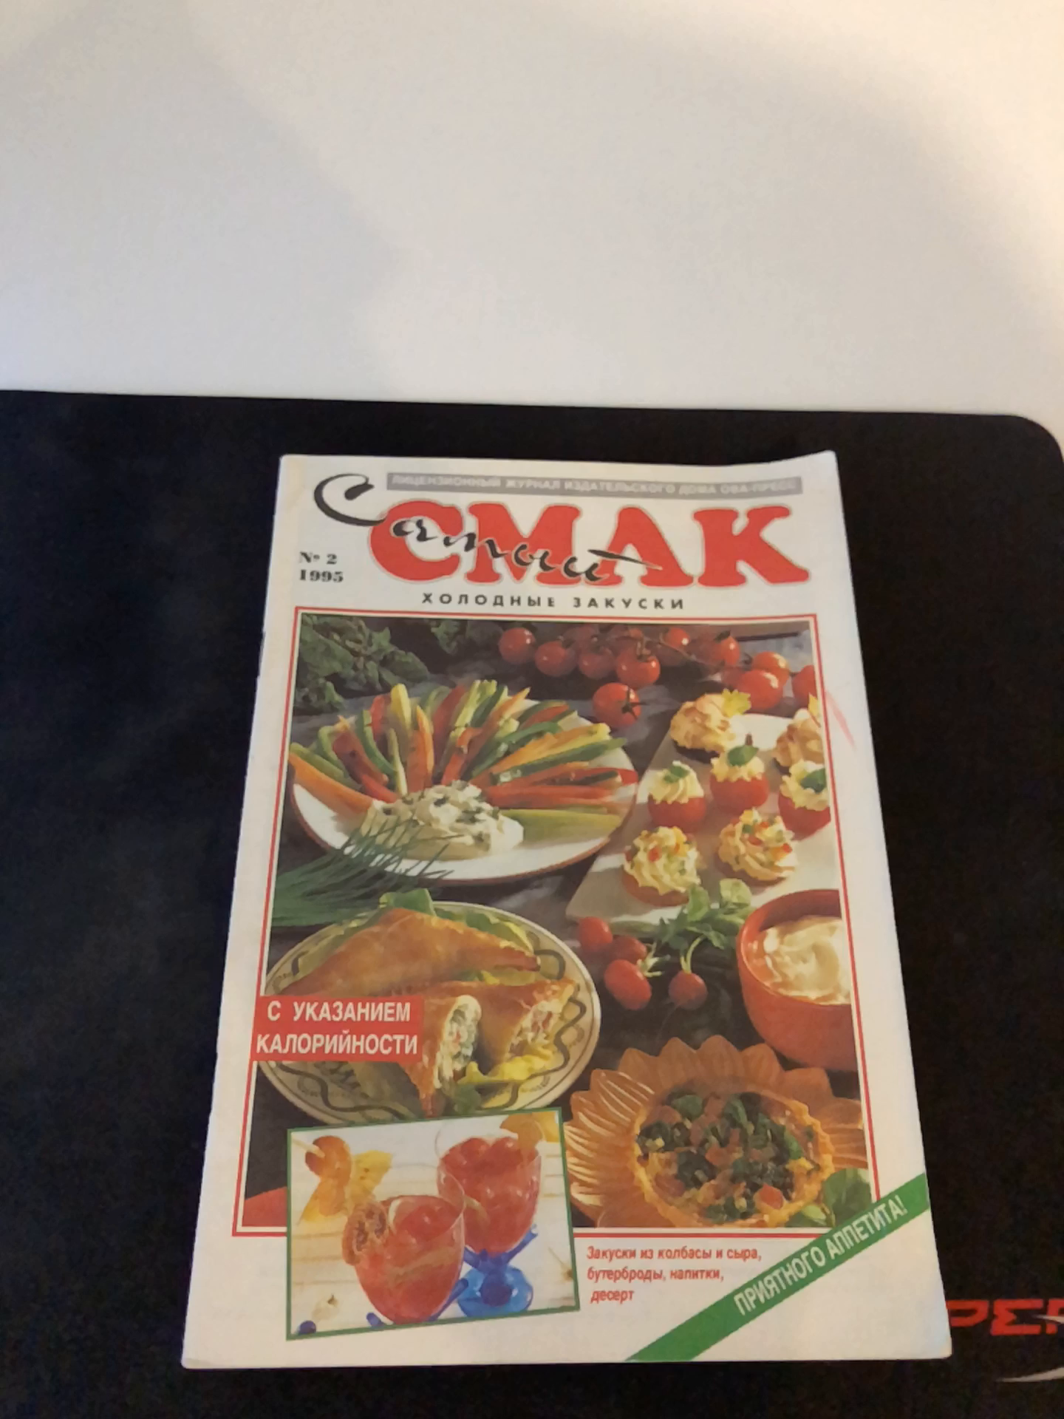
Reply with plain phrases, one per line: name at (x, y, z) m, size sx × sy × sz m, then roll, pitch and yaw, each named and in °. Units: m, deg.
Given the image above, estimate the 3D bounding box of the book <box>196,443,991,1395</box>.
book at (0.012, 0.033, 0.289) m, size 0.160 × 0.010 × 0.231 m, roll 0°, pitch 65°, yaw -2°
